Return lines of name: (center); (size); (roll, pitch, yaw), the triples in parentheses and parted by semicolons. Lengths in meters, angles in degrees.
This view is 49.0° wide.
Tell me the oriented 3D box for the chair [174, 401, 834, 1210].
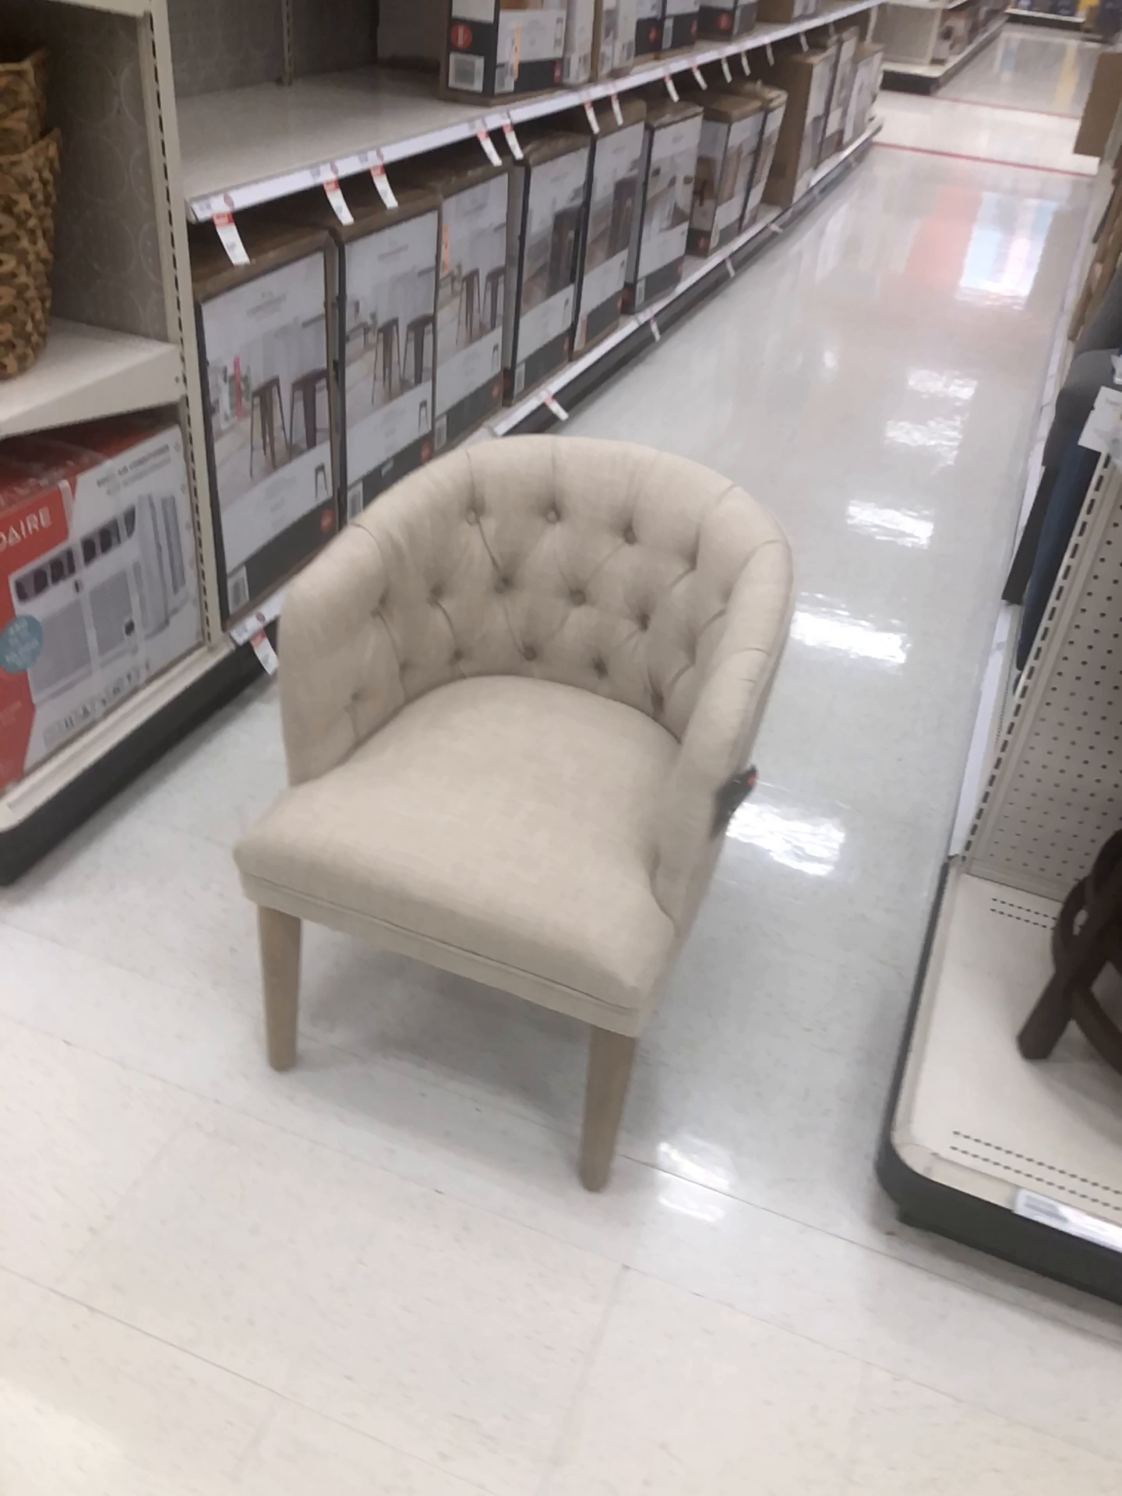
chair: (-0.044, 0.034, 1.656); (0.561, 0.700, 0.685); (16, 36, 14)
